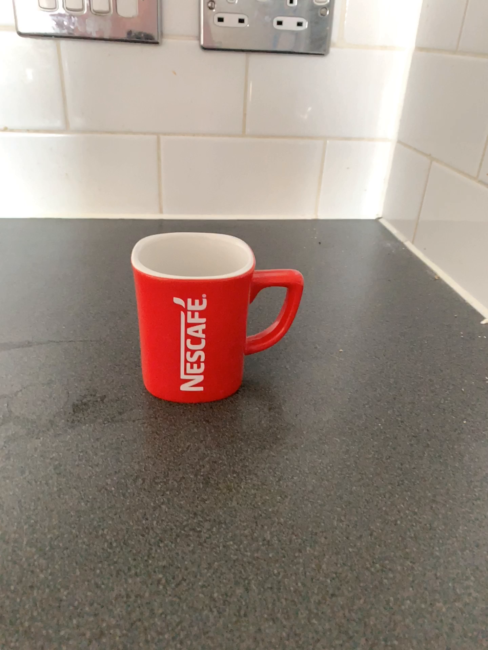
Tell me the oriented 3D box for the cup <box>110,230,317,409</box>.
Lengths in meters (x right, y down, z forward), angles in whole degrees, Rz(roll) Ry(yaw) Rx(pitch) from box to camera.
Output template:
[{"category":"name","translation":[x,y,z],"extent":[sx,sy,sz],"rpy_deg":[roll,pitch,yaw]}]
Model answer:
[{"category":"cup","translation":[-0.021,-0.005,0.324],"extent":[0.112,0.091,0.068],"rpy_deg":[0,29,-6]}]
